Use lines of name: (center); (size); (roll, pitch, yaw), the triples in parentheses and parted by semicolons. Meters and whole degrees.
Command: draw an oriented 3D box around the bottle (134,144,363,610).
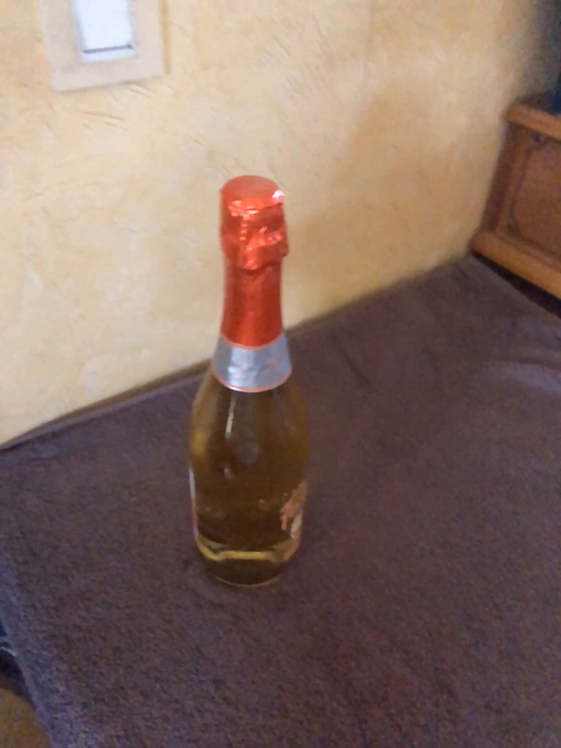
bottle: (-0.016, 0.026, 0.405); (0.090, 0.308, 0.091); (2, 42, -1)
